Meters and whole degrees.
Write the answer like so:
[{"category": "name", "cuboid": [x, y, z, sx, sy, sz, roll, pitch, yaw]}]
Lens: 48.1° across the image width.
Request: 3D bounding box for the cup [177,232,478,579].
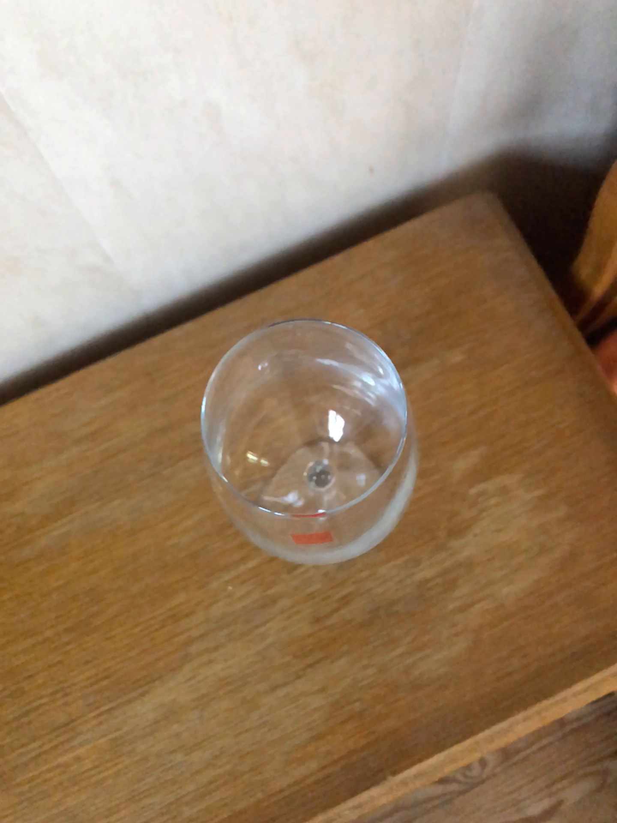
[{"category": "cup", "cuboid": [0.010, 0.022, 0.331, 0.090, 0.230, 0.100, -3, 74, 3]}]
